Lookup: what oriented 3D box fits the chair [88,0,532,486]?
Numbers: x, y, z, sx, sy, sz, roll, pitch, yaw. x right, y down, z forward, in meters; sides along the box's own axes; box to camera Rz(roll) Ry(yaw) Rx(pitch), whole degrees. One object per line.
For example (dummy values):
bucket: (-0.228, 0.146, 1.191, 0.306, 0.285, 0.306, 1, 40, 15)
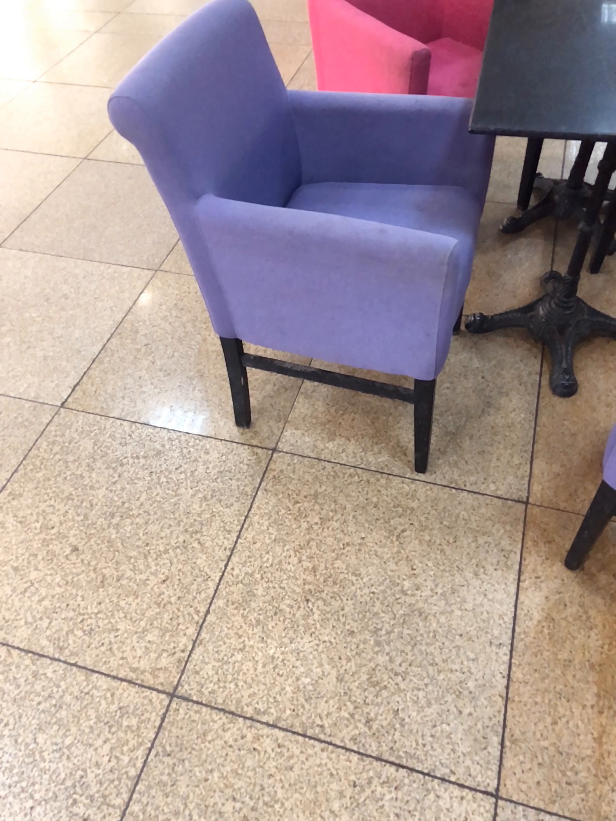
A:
chair: (0.062, -0.374, 1.451, 0.610, 0.817, 0.592, 11, 51, 13)
